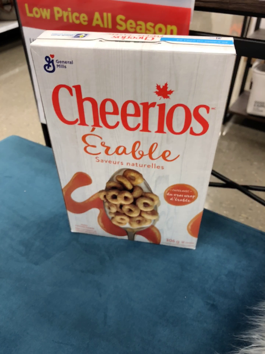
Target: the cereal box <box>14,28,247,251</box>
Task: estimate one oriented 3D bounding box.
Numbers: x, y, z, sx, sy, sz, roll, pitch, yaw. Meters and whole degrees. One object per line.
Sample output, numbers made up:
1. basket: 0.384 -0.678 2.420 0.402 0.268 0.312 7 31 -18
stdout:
1. cereal box: -0.001 -0.028 0.373 0.210 0.269 0.060 6 40 8
